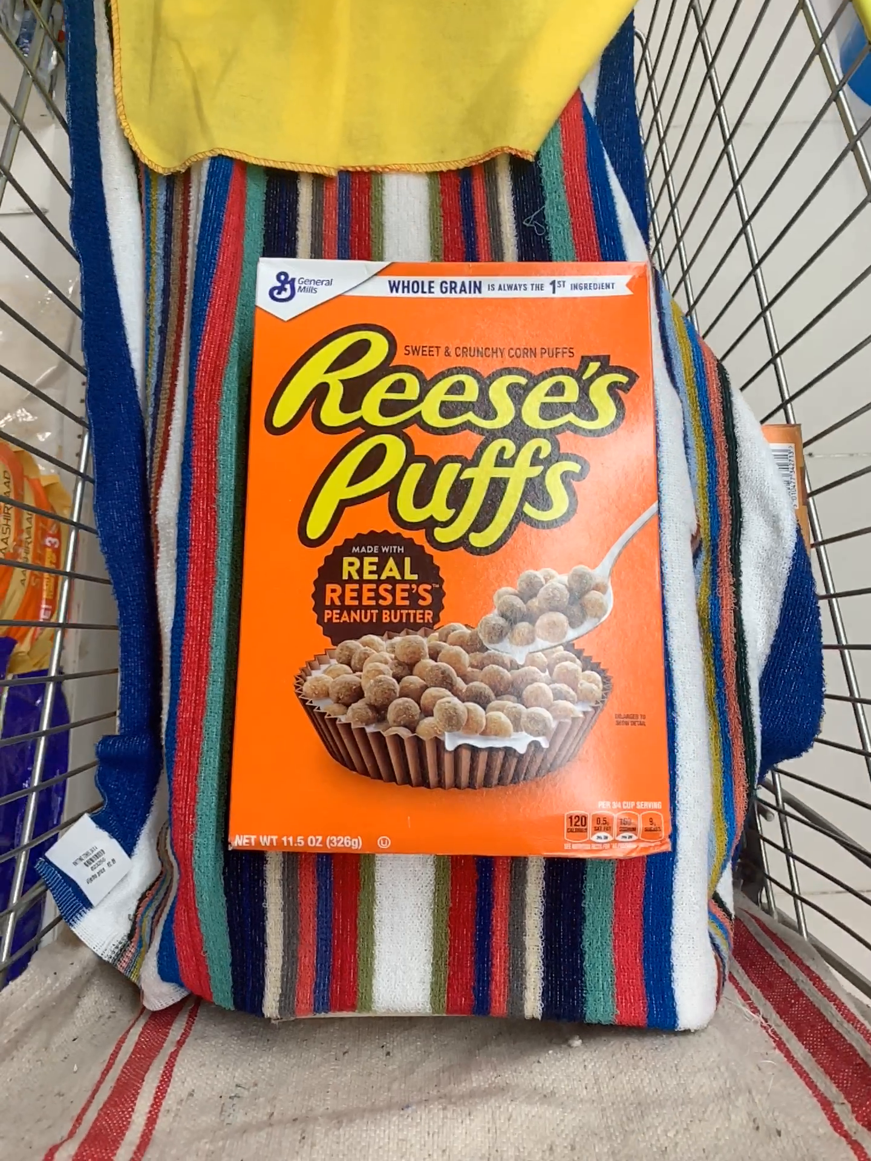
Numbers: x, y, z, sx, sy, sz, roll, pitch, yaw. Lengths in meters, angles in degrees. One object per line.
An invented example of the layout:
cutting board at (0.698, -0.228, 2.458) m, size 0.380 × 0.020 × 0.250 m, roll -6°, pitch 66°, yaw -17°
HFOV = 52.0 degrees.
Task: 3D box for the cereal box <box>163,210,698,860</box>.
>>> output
cereal box at (0.001, -0.020, 0.393) m, size 0.200 × 0.080 × 0.260 m, roll 1°, pitch 81°, yaw 1°
